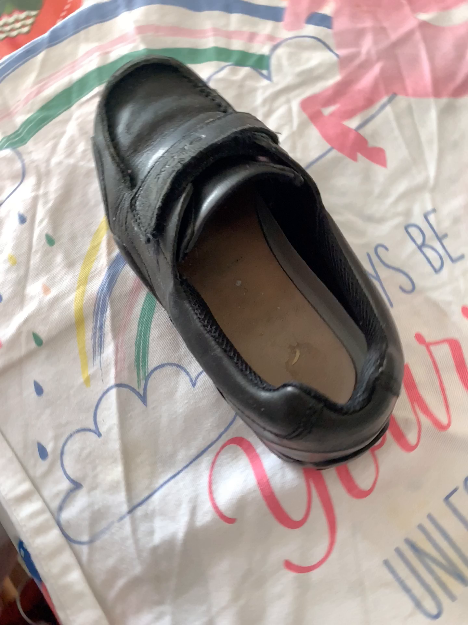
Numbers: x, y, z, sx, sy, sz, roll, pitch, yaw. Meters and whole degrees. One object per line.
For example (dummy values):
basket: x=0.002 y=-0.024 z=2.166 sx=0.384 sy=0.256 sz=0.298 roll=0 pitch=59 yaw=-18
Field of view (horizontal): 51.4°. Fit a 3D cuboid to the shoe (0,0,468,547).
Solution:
shoe: x=-0.005 y=-0.026 z=0.237 sx=0.080 sy=0.140 sz=0.221 roll=-30 pitch=72 yaw=-3
